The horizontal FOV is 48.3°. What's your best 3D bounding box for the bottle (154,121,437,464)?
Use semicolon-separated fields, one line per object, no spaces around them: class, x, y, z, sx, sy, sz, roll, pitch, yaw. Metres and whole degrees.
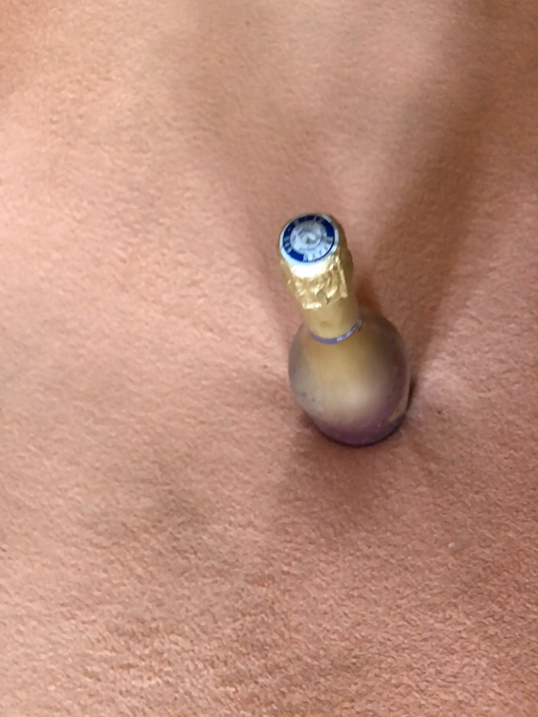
bottle;0.048;-0.008;0.391;0.090;0.310;0.090;-4;73;14
